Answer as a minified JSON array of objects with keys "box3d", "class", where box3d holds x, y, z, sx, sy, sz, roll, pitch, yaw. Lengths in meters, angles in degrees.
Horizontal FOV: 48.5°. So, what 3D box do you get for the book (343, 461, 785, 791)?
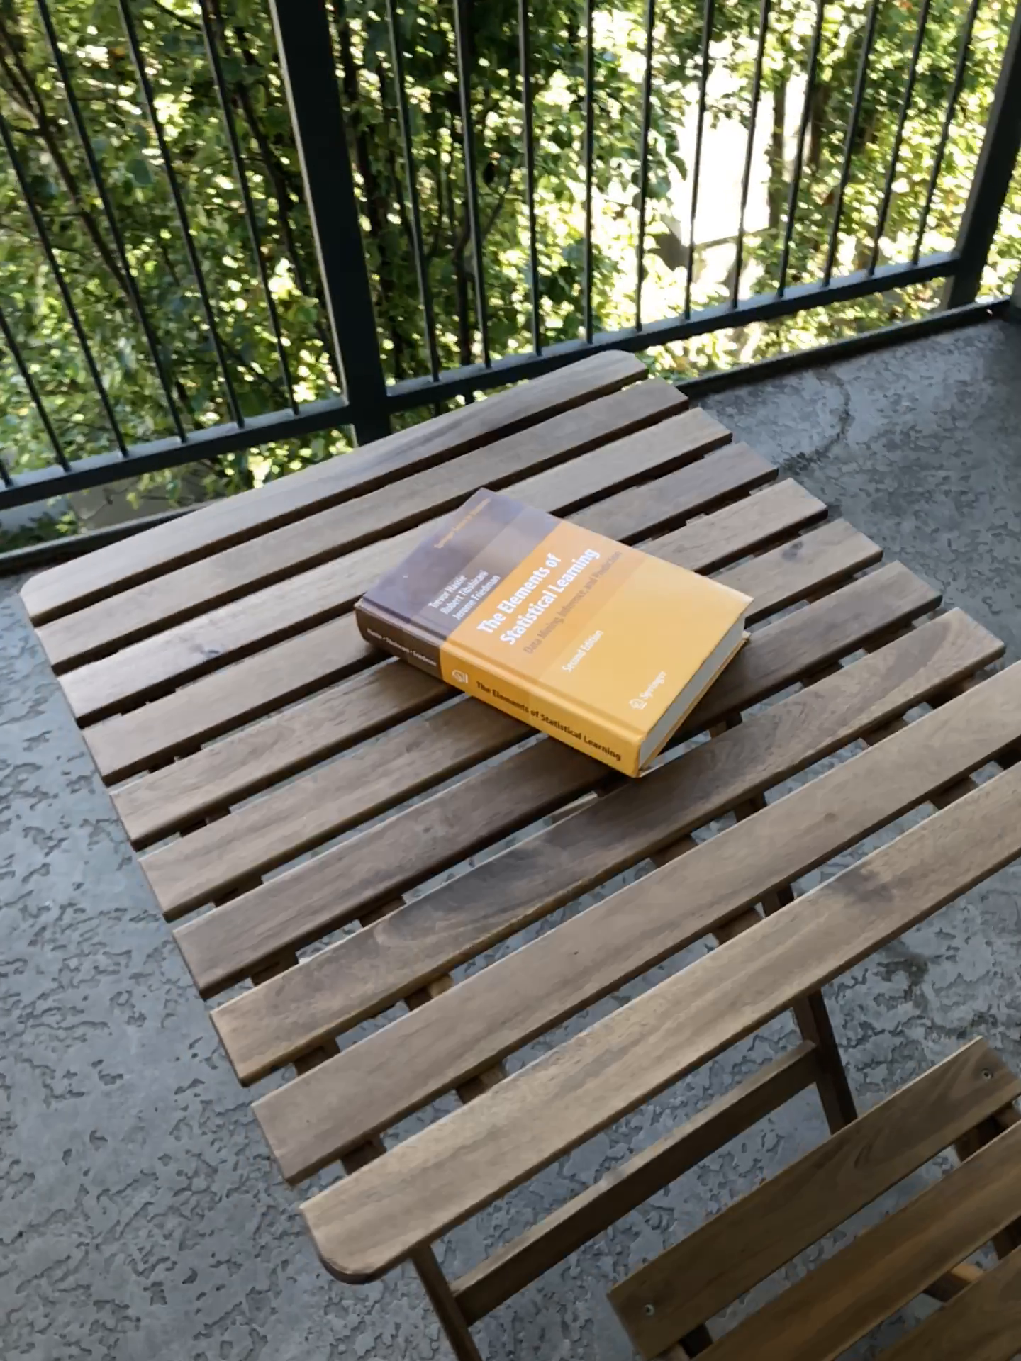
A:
[{"box3d":[0.037,-0.051,0.806,0.250,0.040,0.180,27,55,25],"class":"book"}]
